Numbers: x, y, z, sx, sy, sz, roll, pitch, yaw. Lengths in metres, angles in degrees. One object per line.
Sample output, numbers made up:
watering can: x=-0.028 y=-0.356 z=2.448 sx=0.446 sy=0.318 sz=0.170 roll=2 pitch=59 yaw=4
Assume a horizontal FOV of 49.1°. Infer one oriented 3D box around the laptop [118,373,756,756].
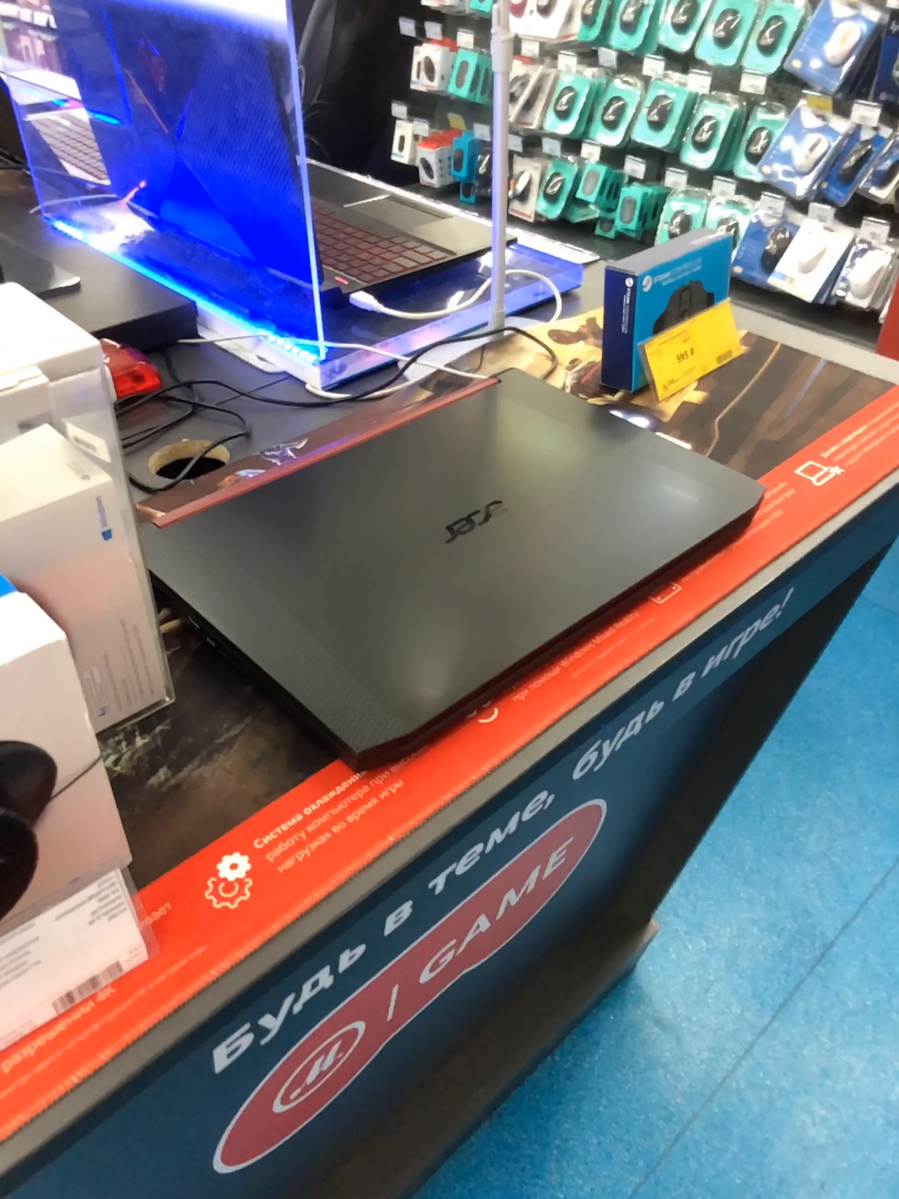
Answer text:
laptop: x=0.001 y=-0.055 z=0.648 sx=0.351 sy=0.005 sz=0.243 roll=-30 pitch=48 yaw=-34
